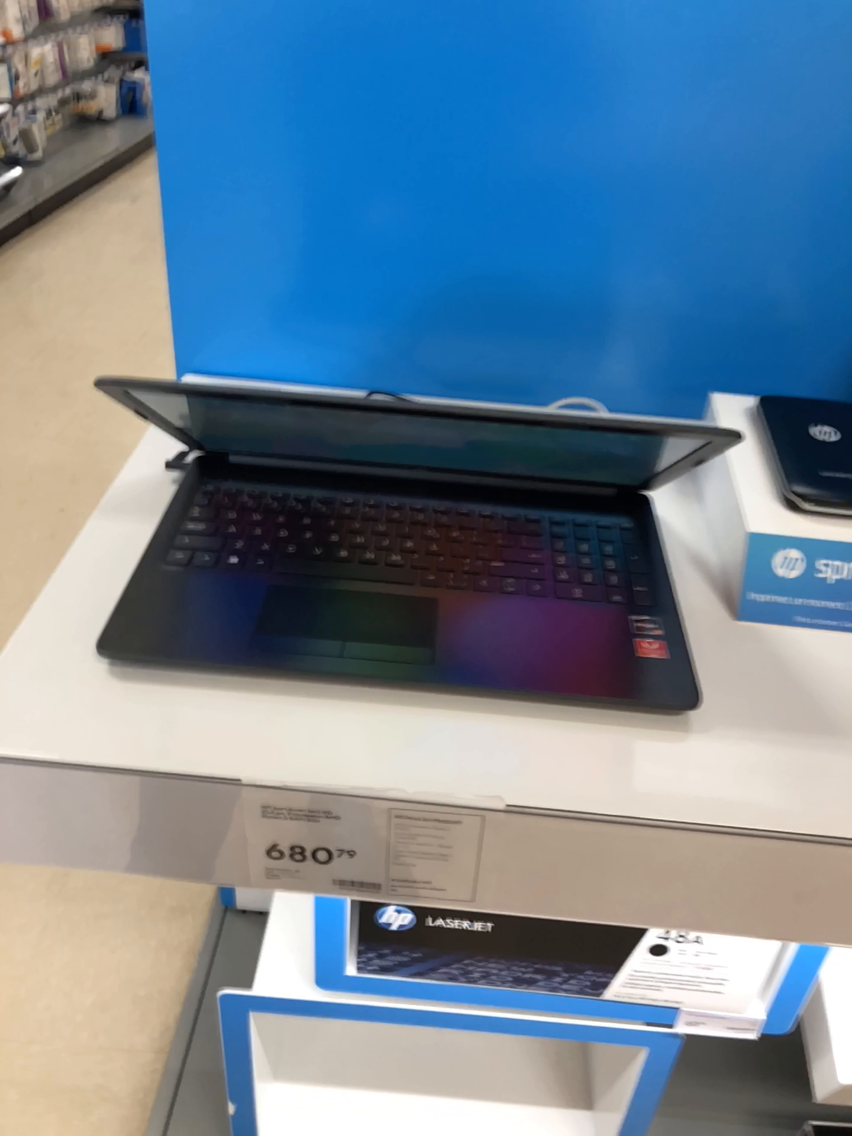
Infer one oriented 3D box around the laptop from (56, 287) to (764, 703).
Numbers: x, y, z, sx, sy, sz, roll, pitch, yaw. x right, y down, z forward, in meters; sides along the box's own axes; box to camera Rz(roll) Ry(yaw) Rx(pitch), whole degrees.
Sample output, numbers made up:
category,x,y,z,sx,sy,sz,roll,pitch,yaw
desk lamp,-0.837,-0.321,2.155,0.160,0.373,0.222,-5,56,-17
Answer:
category,x,y,z,sx,sy,sz,roll,pitch,yaw
laptop,-0.006,-0.060,0.604,0.355,0.130,0.243,5,34,-2
